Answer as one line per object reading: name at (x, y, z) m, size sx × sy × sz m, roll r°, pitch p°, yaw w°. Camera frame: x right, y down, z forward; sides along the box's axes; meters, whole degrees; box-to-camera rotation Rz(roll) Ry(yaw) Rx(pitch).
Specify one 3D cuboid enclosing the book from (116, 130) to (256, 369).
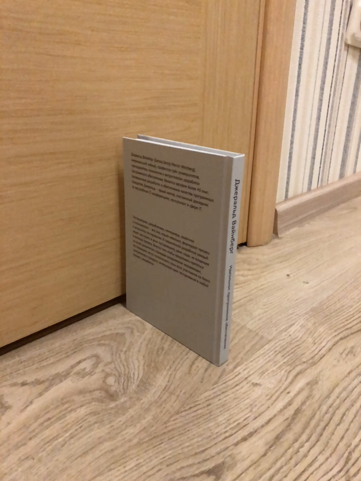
book at (-0.005, 0.002, 0.408) m, size 0.023 × 0.209 × 0.163 m, roll -18°, pitch 28°, yaw -42°
